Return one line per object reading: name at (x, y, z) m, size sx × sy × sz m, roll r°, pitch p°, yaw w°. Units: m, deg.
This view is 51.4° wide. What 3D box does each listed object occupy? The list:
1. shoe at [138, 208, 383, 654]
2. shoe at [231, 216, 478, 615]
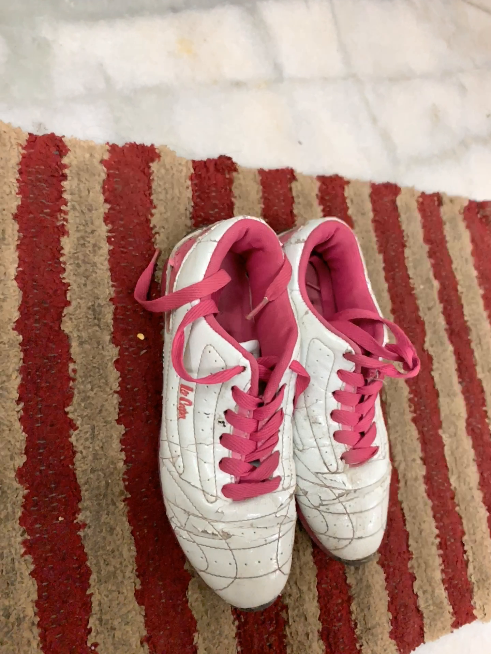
shoe at (-0.001, 0.060, 0.327) m, size 0.090 × 0.100 × 0.240 m, roll -2°, pitch 78°, yaw -27°
shoe at (0.070, 0.054, 0.375) m, size 0.100 × 0.100 × 0.240 m, roll -2°, pitch 78°, yaw -27°
